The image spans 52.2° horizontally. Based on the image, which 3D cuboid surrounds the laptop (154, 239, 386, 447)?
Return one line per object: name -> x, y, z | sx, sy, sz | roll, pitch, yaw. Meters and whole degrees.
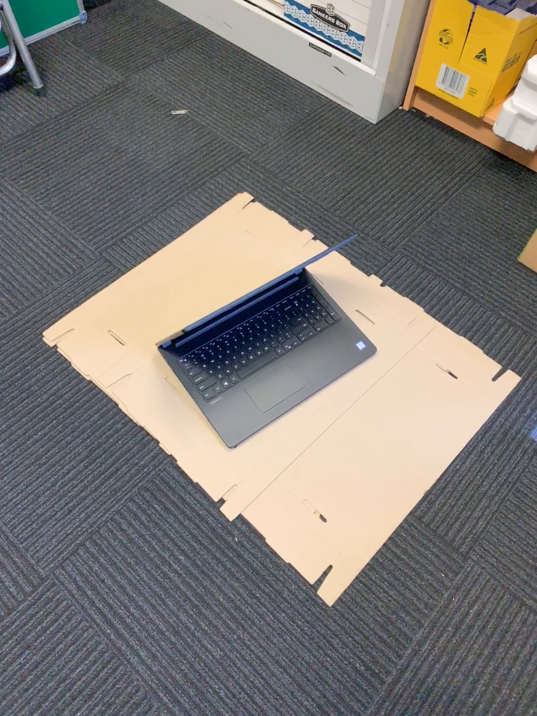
laptop -> 0.005, -0.039, 0.979 | 0.341, 0.085, 0.221 | -31, 68, -20
